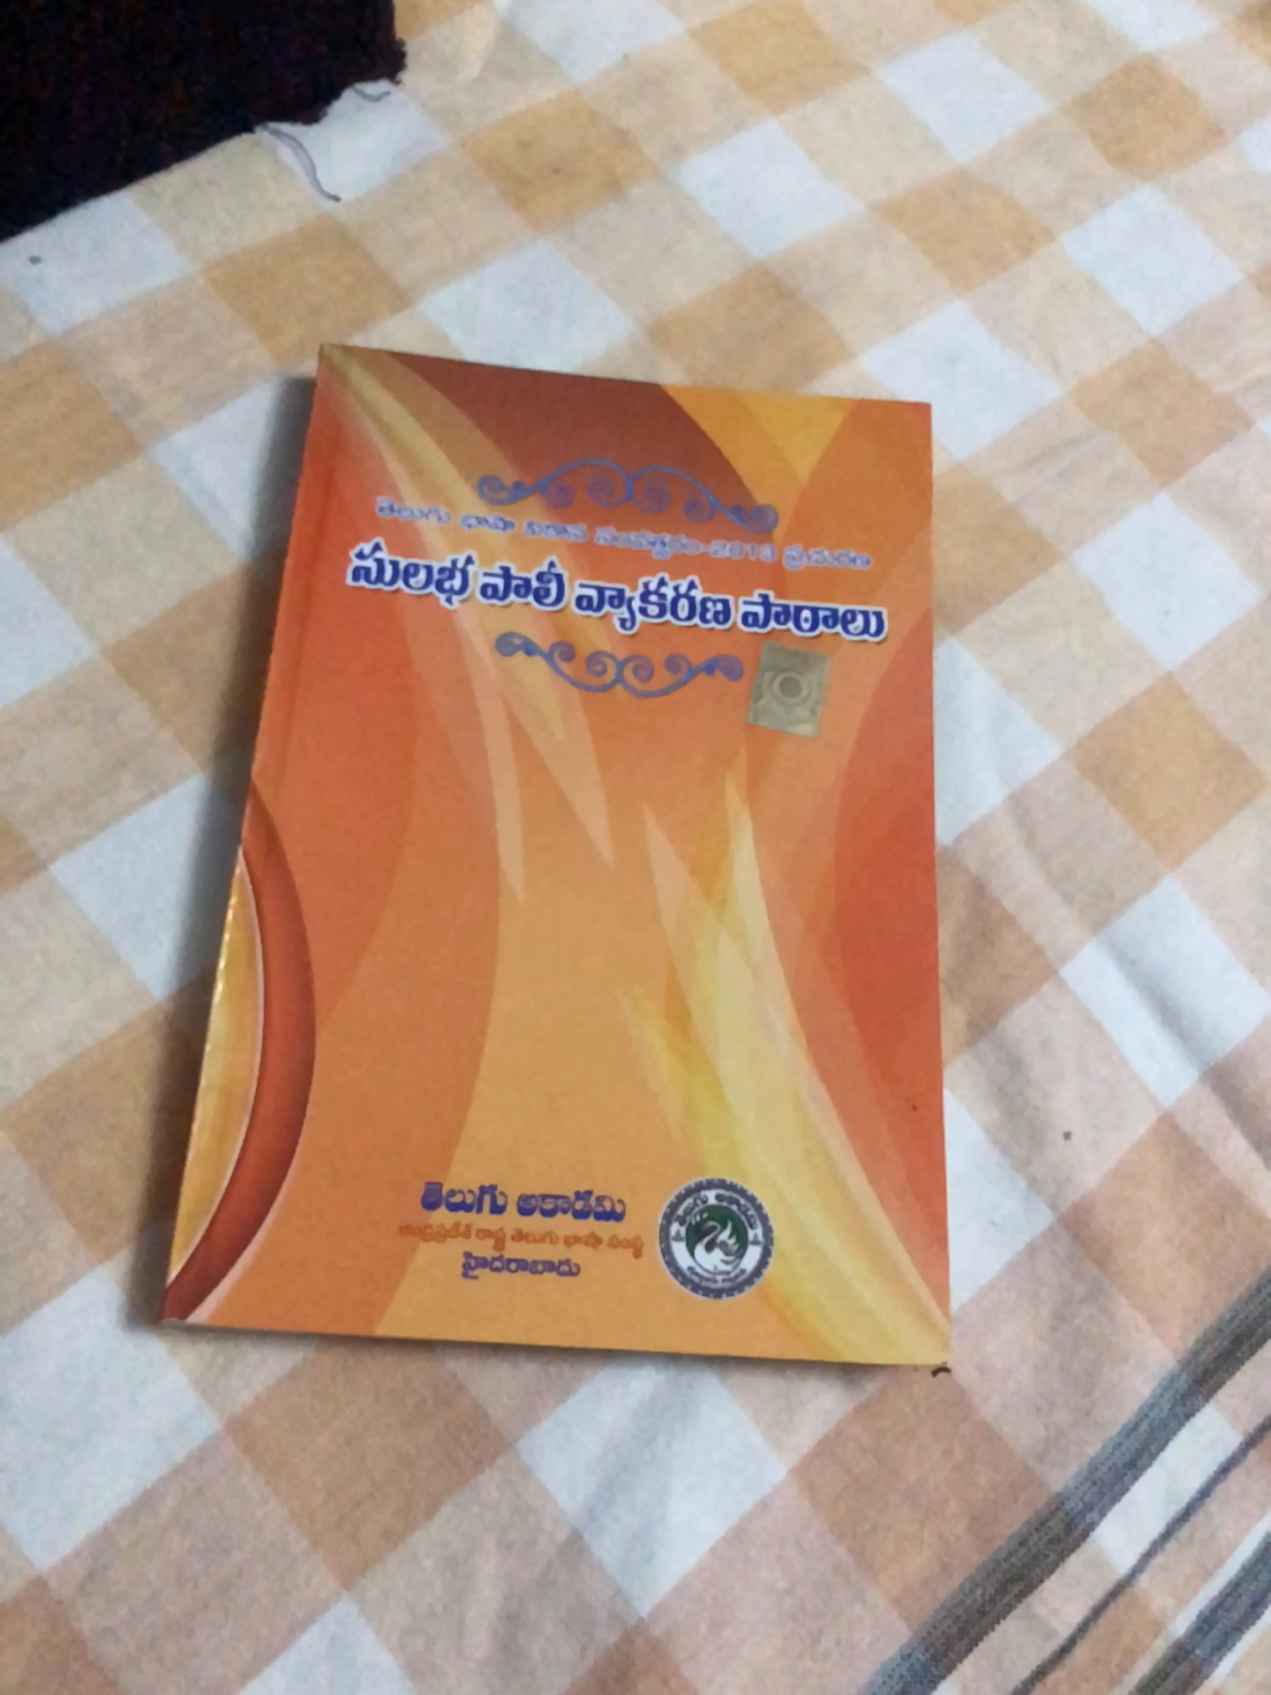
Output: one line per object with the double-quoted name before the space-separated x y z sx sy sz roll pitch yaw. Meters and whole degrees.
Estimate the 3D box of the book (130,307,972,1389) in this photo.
"book" -0.008 -0.008 0.282 0.140 0.020 0.210 6 68 -7
